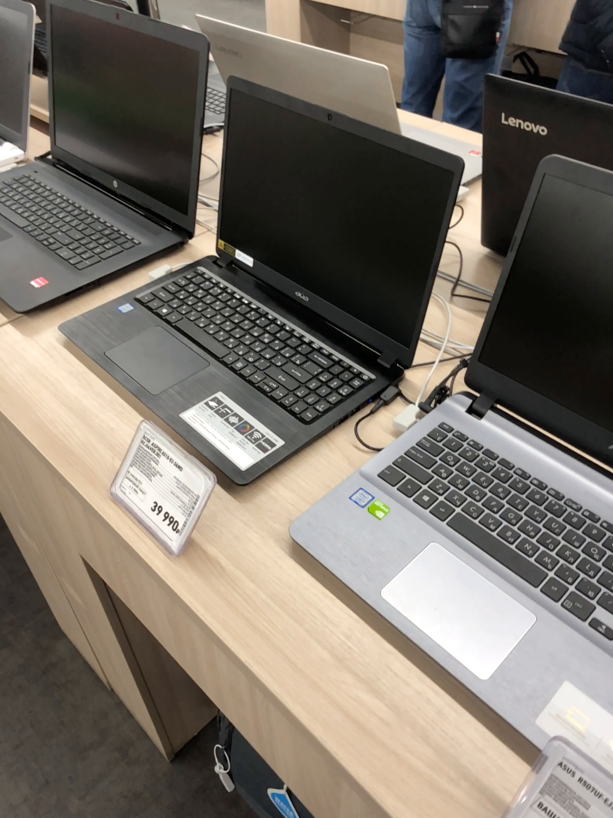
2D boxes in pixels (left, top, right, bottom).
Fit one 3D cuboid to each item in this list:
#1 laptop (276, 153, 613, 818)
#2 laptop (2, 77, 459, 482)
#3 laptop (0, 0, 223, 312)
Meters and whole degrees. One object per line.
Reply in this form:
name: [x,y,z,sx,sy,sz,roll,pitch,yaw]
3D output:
laptop: [0.212,0.019,0.491,0.325,0.218,0.327,-34,50,-27]
laptop: [-0.078,-0.167,0.725,0.291,0.219,0.347,-33,51,-29]
laptop: [-0.370,-0.390,0.938,0.354,0.226,0.346,33,55,29]
